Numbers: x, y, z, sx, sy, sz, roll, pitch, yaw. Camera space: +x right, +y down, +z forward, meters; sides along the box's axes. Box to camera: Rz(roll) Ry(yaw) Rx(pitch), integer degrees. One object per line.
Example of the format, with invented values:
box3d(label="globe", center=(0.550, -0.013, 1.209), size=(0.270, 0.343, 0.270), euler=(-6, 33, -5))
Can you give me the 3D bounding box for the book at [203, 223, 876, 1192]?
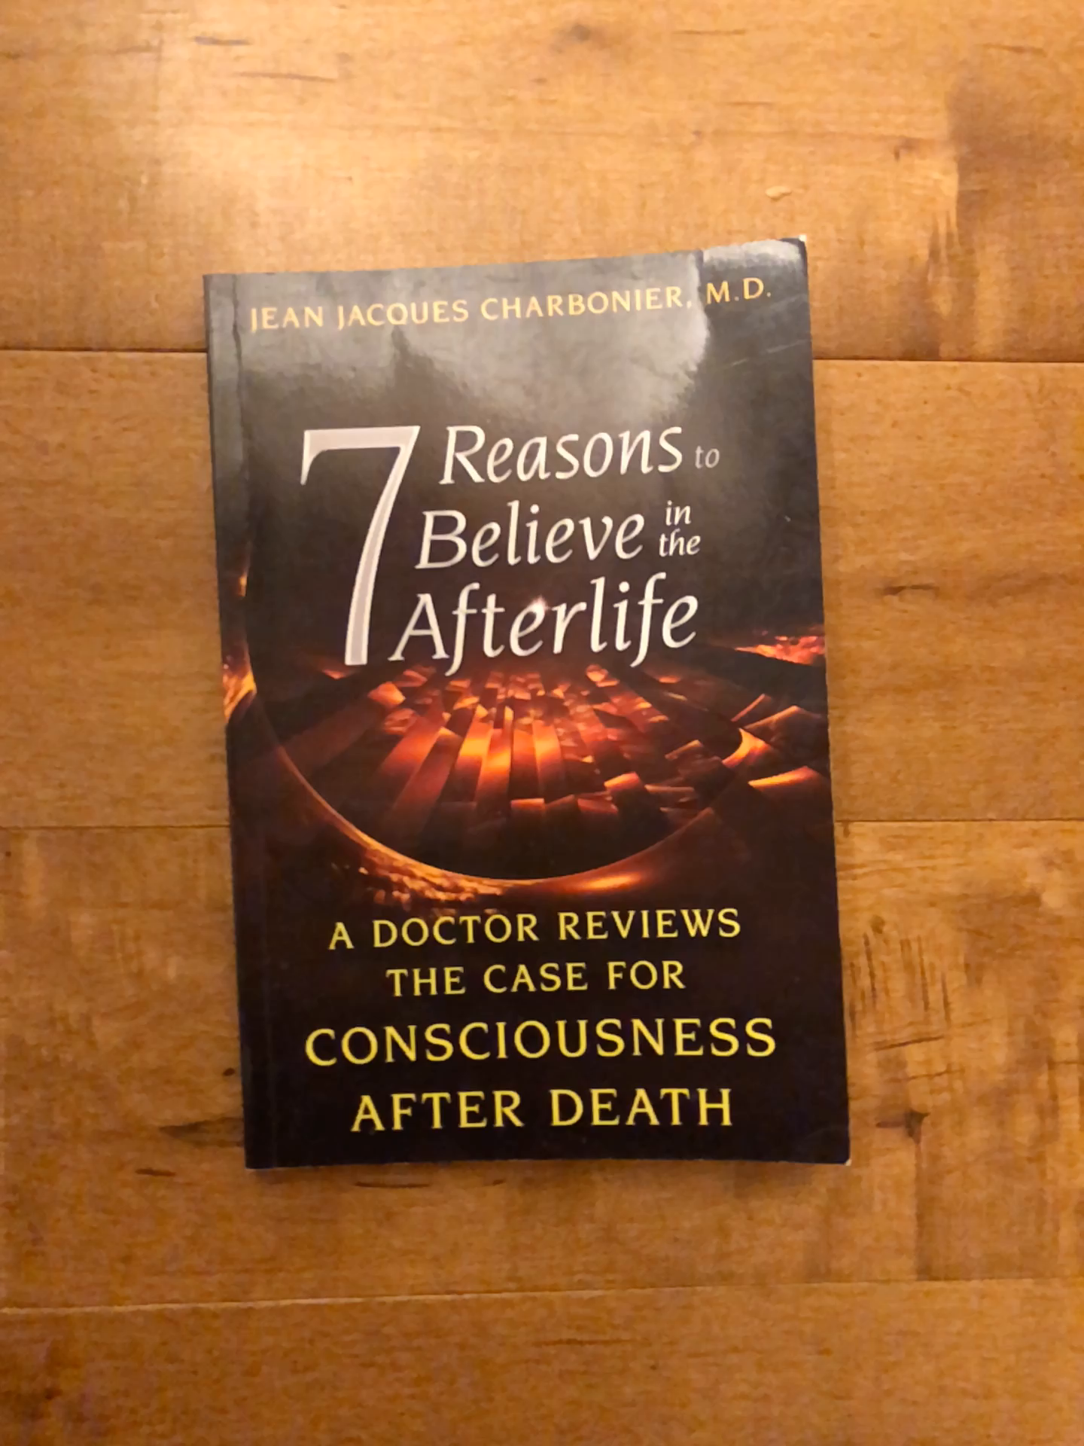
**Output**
box3d(label="book", center=(-0.001, -0.002, 0.329), size=(0.170, 0.030, 0.250), euler=(-2, 90, 4))
